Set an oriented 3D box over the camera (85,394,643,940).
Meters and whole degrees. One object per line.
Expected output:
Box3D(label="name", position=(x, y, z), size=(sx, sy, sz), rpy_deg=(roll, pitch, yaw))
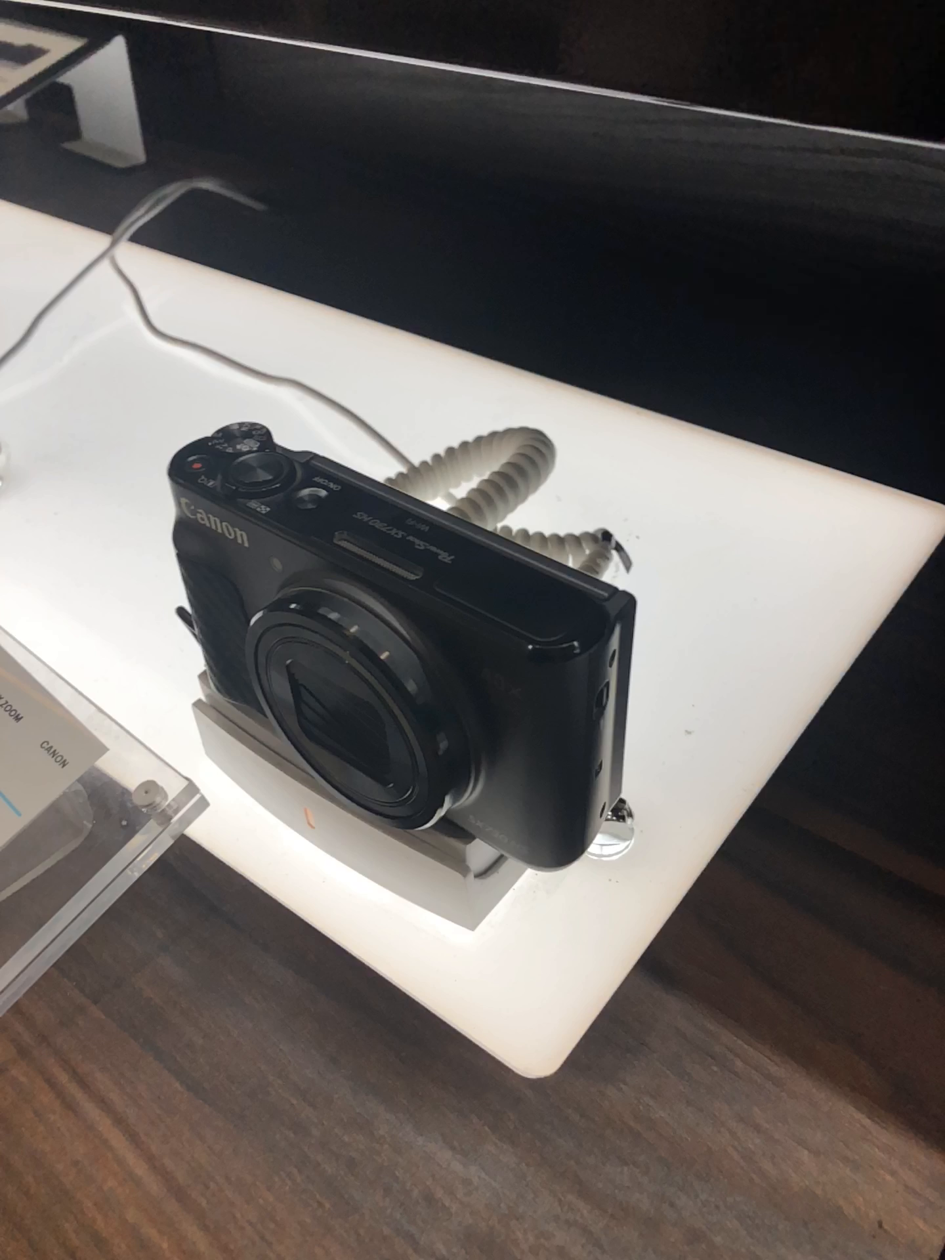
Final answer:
Box3D(label="camera", position=(-0.024, 0.004, 0.224), size=(0.115, 0.069, 0.034), rpy_deg=(26, 48, 30))
